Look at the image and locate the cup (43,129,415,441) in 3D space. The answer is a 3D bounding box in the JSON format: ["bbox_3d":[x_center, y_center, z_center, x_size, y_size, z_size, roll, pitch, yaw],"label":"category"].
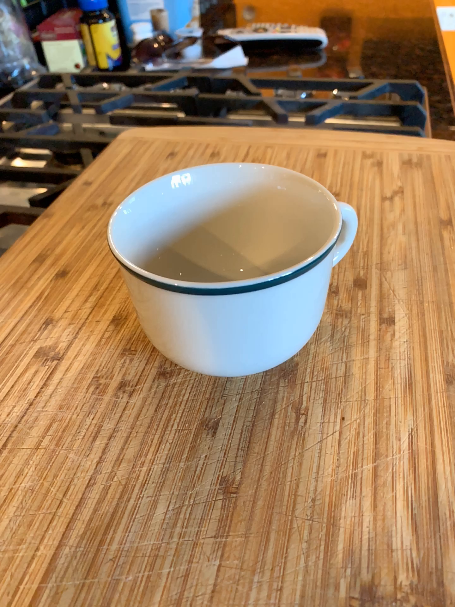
[{"bbox_3d":[-0.001,-0.018,0.211,0.120,0.060,0.090,-25,46,-21],"label":"cup"}]
